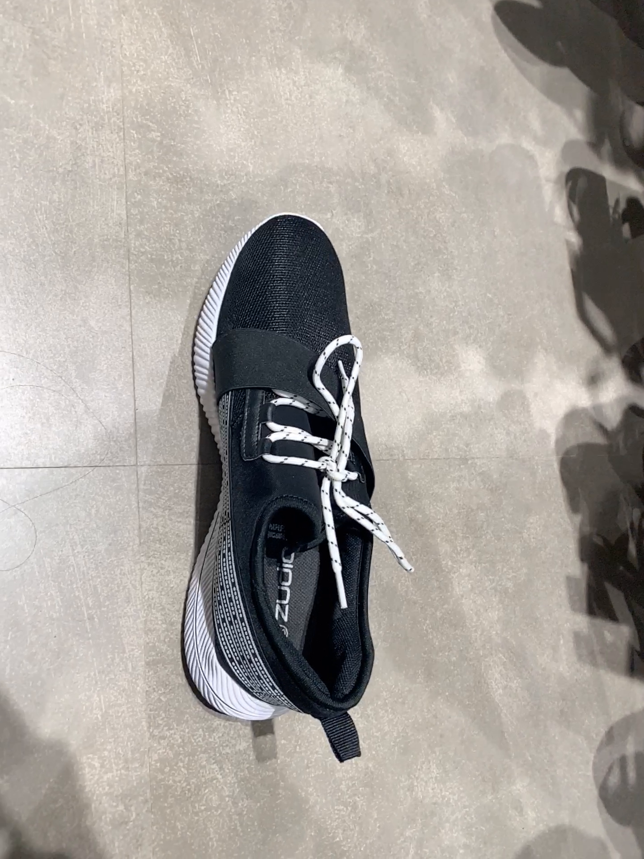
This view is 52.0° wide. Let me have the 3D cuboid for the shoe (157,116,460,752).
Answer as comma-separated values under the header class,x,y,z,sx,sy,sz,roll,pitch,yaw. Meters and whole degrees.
class,x,y,z,sx,sy,sz,roll,pitch,yaw
shoe,-0.013,0.005,0.395,0.117,0.131,0.304,7,77,-31
